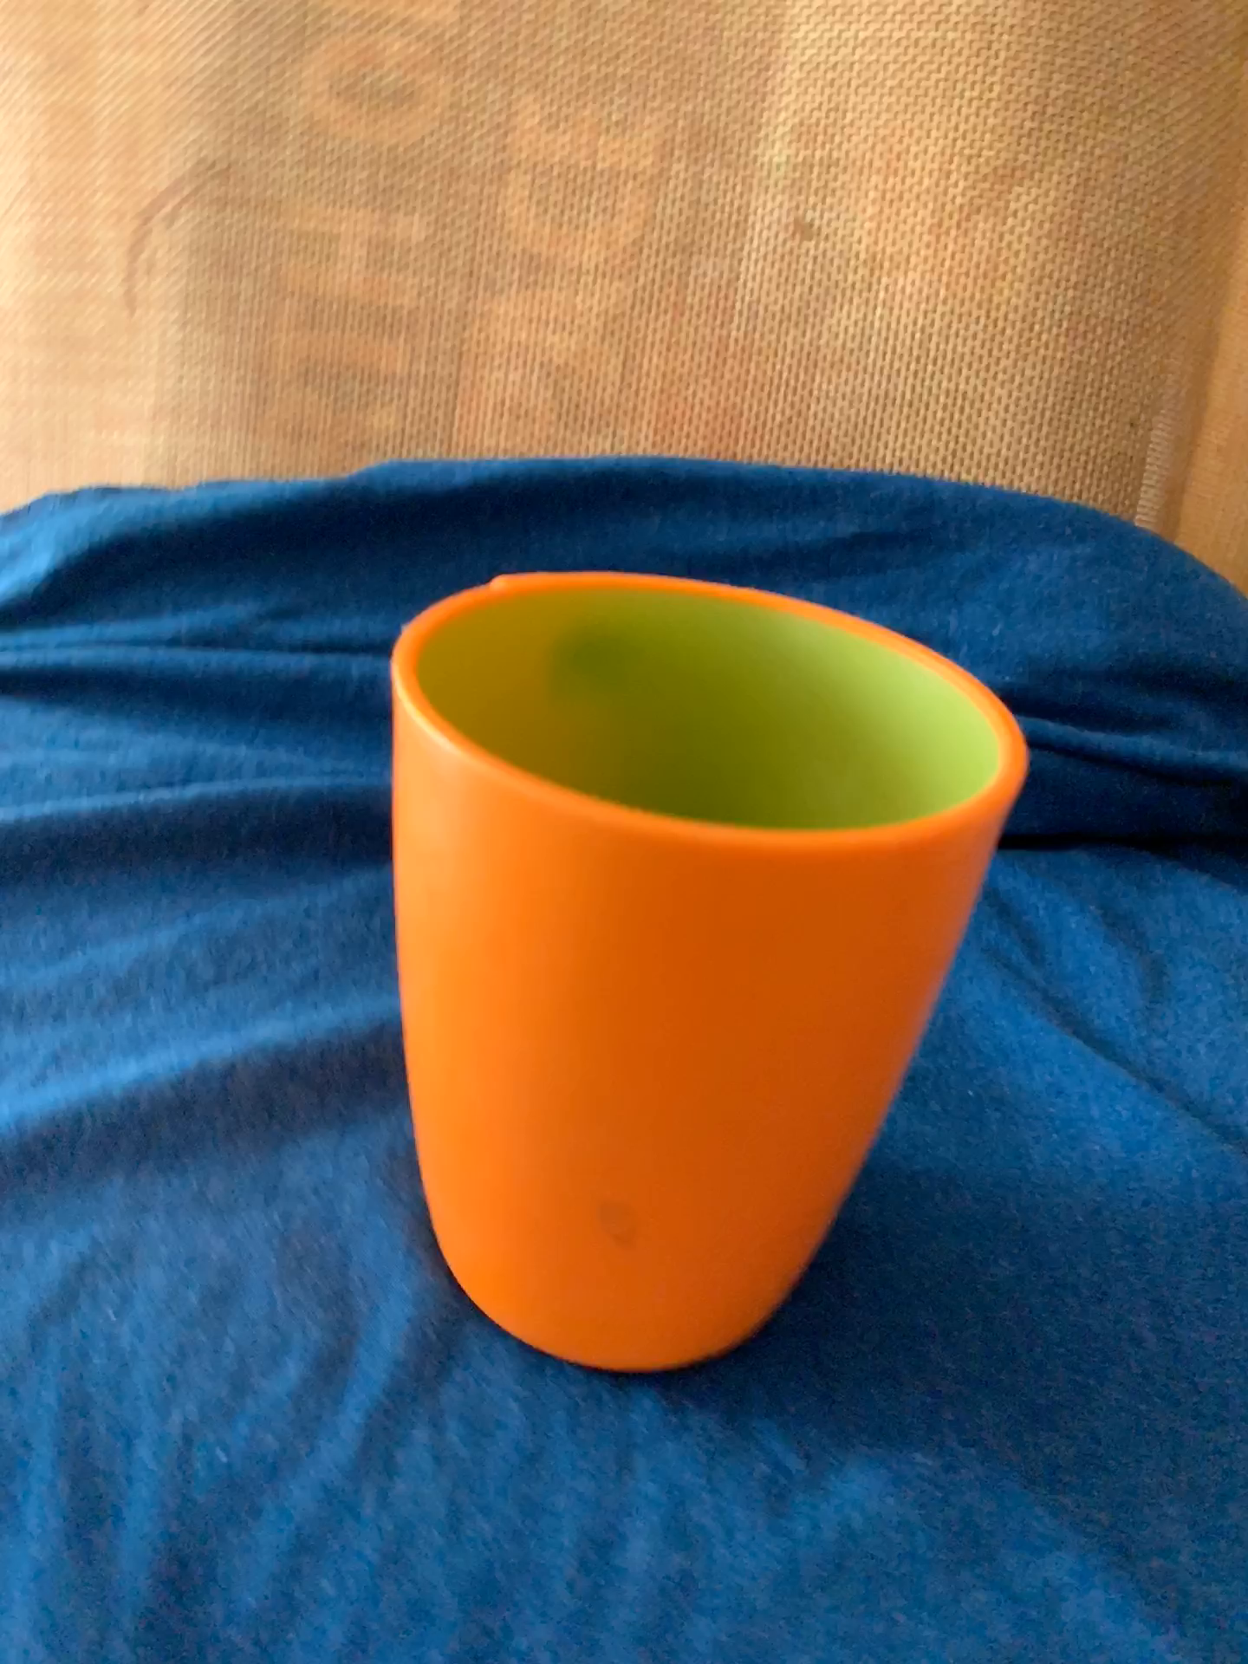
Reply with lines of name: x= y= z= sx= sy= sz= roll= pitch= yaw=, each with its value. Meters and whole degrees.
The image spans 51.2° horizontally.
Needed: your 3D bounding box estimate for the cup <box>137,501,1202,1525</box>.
cup: x=-0.004 y=0.007 z=0.203 sx=0.100 sy=0.089 sz=0.121 roll=-11 pitch=30 yaw=-37
